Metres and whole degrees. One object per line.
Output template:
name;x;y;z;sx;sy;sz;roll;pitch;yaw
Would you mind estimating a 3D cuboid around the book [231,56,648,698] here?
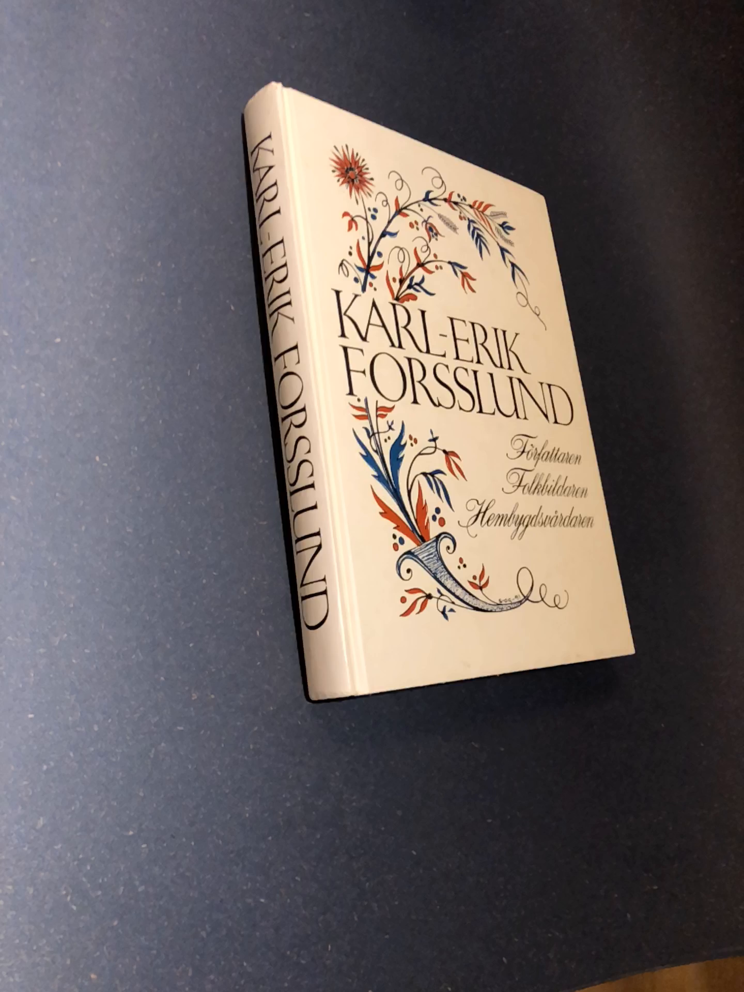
book;0.032;-0.045;0.344;0.165;0.028;0.232;3;73;-39
